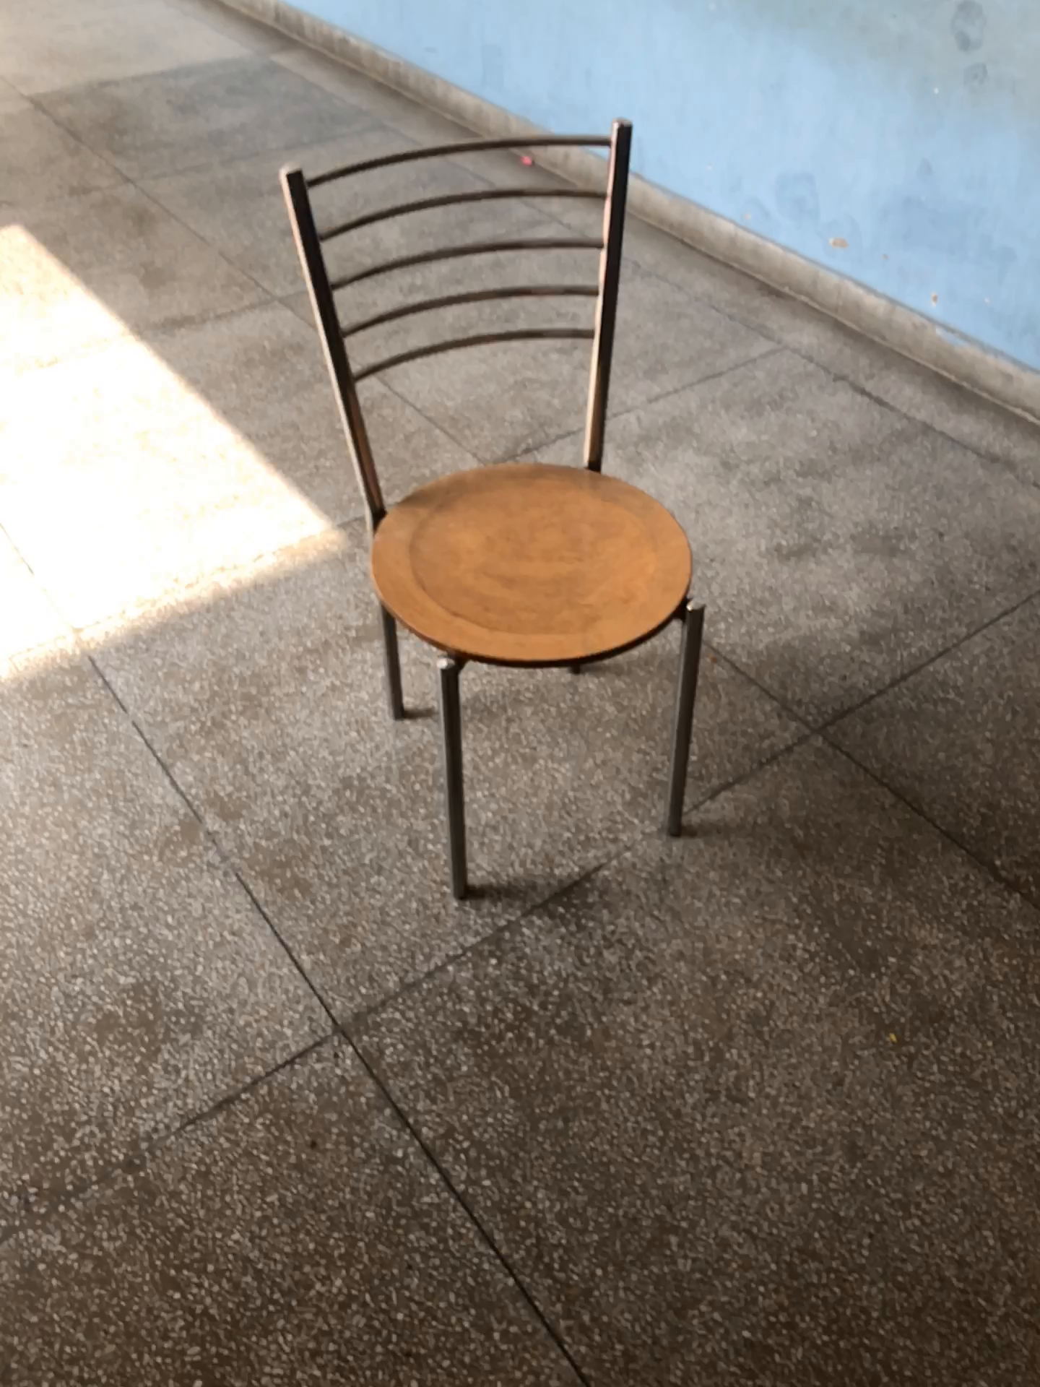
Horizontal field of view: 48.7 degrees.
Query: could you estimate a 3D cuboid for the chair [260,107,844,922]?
[{"bbox_3d":[0.004,-0.186,1.356,0.420,0.777,0.421,-15,46,-16],"label":"chair"}]
